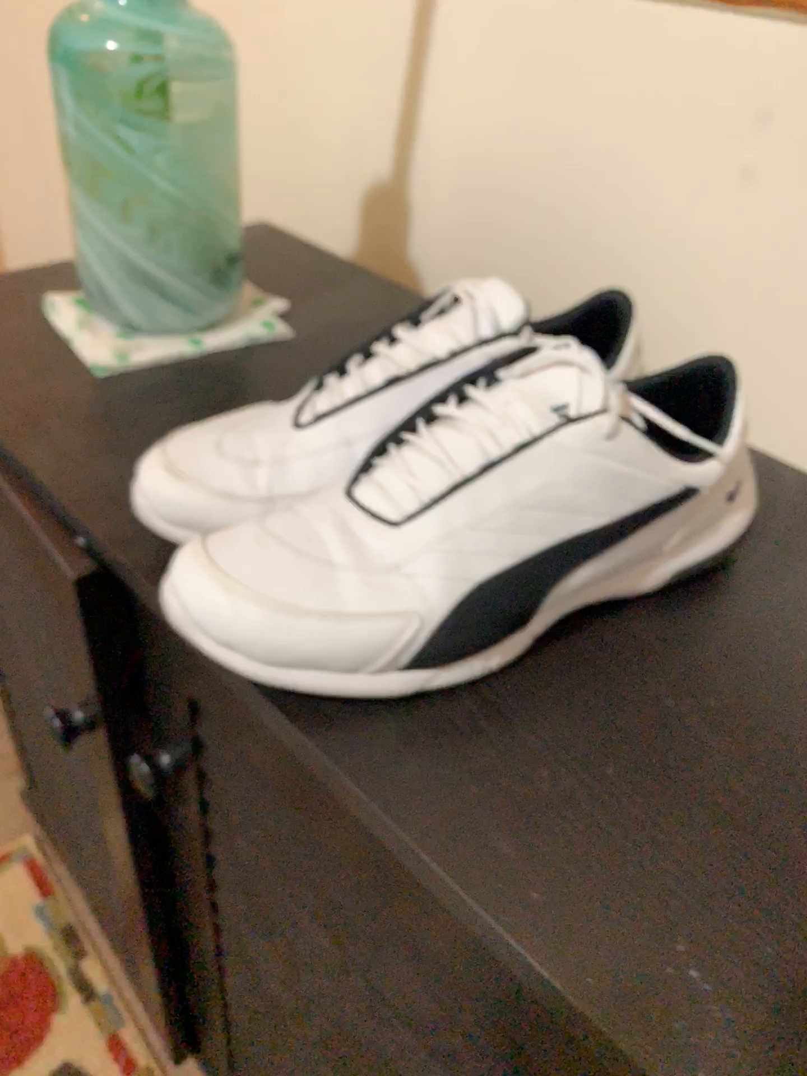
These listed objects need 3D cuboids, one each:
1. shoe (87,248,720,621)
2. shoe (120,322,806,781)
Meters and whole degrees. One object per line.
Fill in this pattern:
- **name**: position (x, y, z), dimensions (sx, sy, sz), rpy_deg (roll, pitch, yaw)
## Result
- **shoe**: position (0.000, -0.067, 0.438), dimensions (0.281, 0.089, 0.121), rpy_deg (-15, 41, -19)
- **shoe**: position (0.042, -0.010, 0.371), dimensions (0.291, 0.089, 0.101), rpy_deg (-15, 41, -19)
